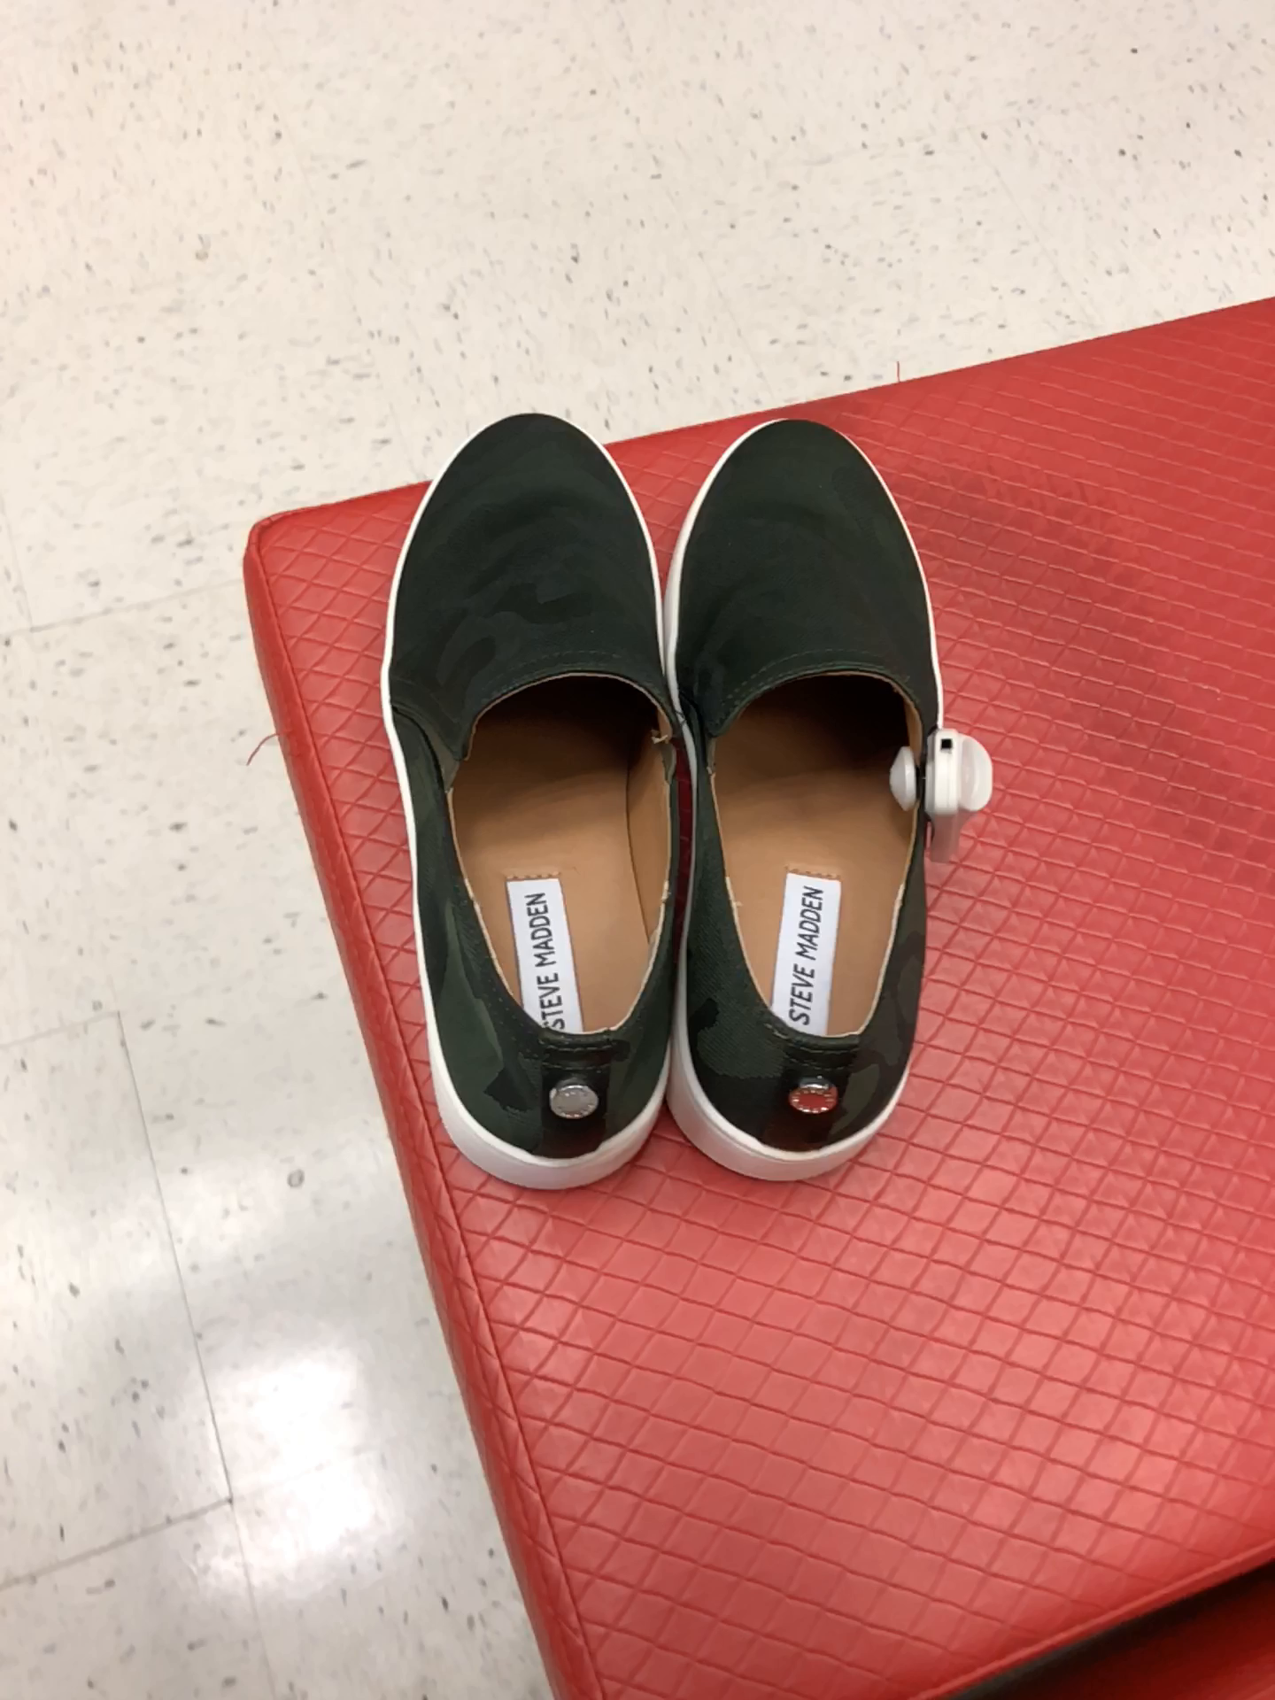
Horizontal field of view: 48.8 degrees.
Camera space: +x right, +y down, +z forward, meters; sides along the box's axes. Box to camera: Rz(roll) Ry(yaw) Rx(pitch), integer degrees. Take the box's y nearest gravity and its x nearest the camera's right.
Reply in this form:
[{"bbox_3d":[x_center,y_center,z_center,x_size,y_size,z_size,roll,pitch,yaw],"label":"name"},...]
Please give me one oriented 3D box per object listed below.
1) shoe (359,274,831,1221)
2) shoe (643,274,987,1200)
[{"bbox_3d":[-0.024,-0.040,0.429,0.105,0.086,0.277,-4,65,-7],"label":"shoe"},{"bbox_3d":[0.050,-0.041,0.439,0.077,0.086,0.277,5,64,-3],"label":"shoe"}]
